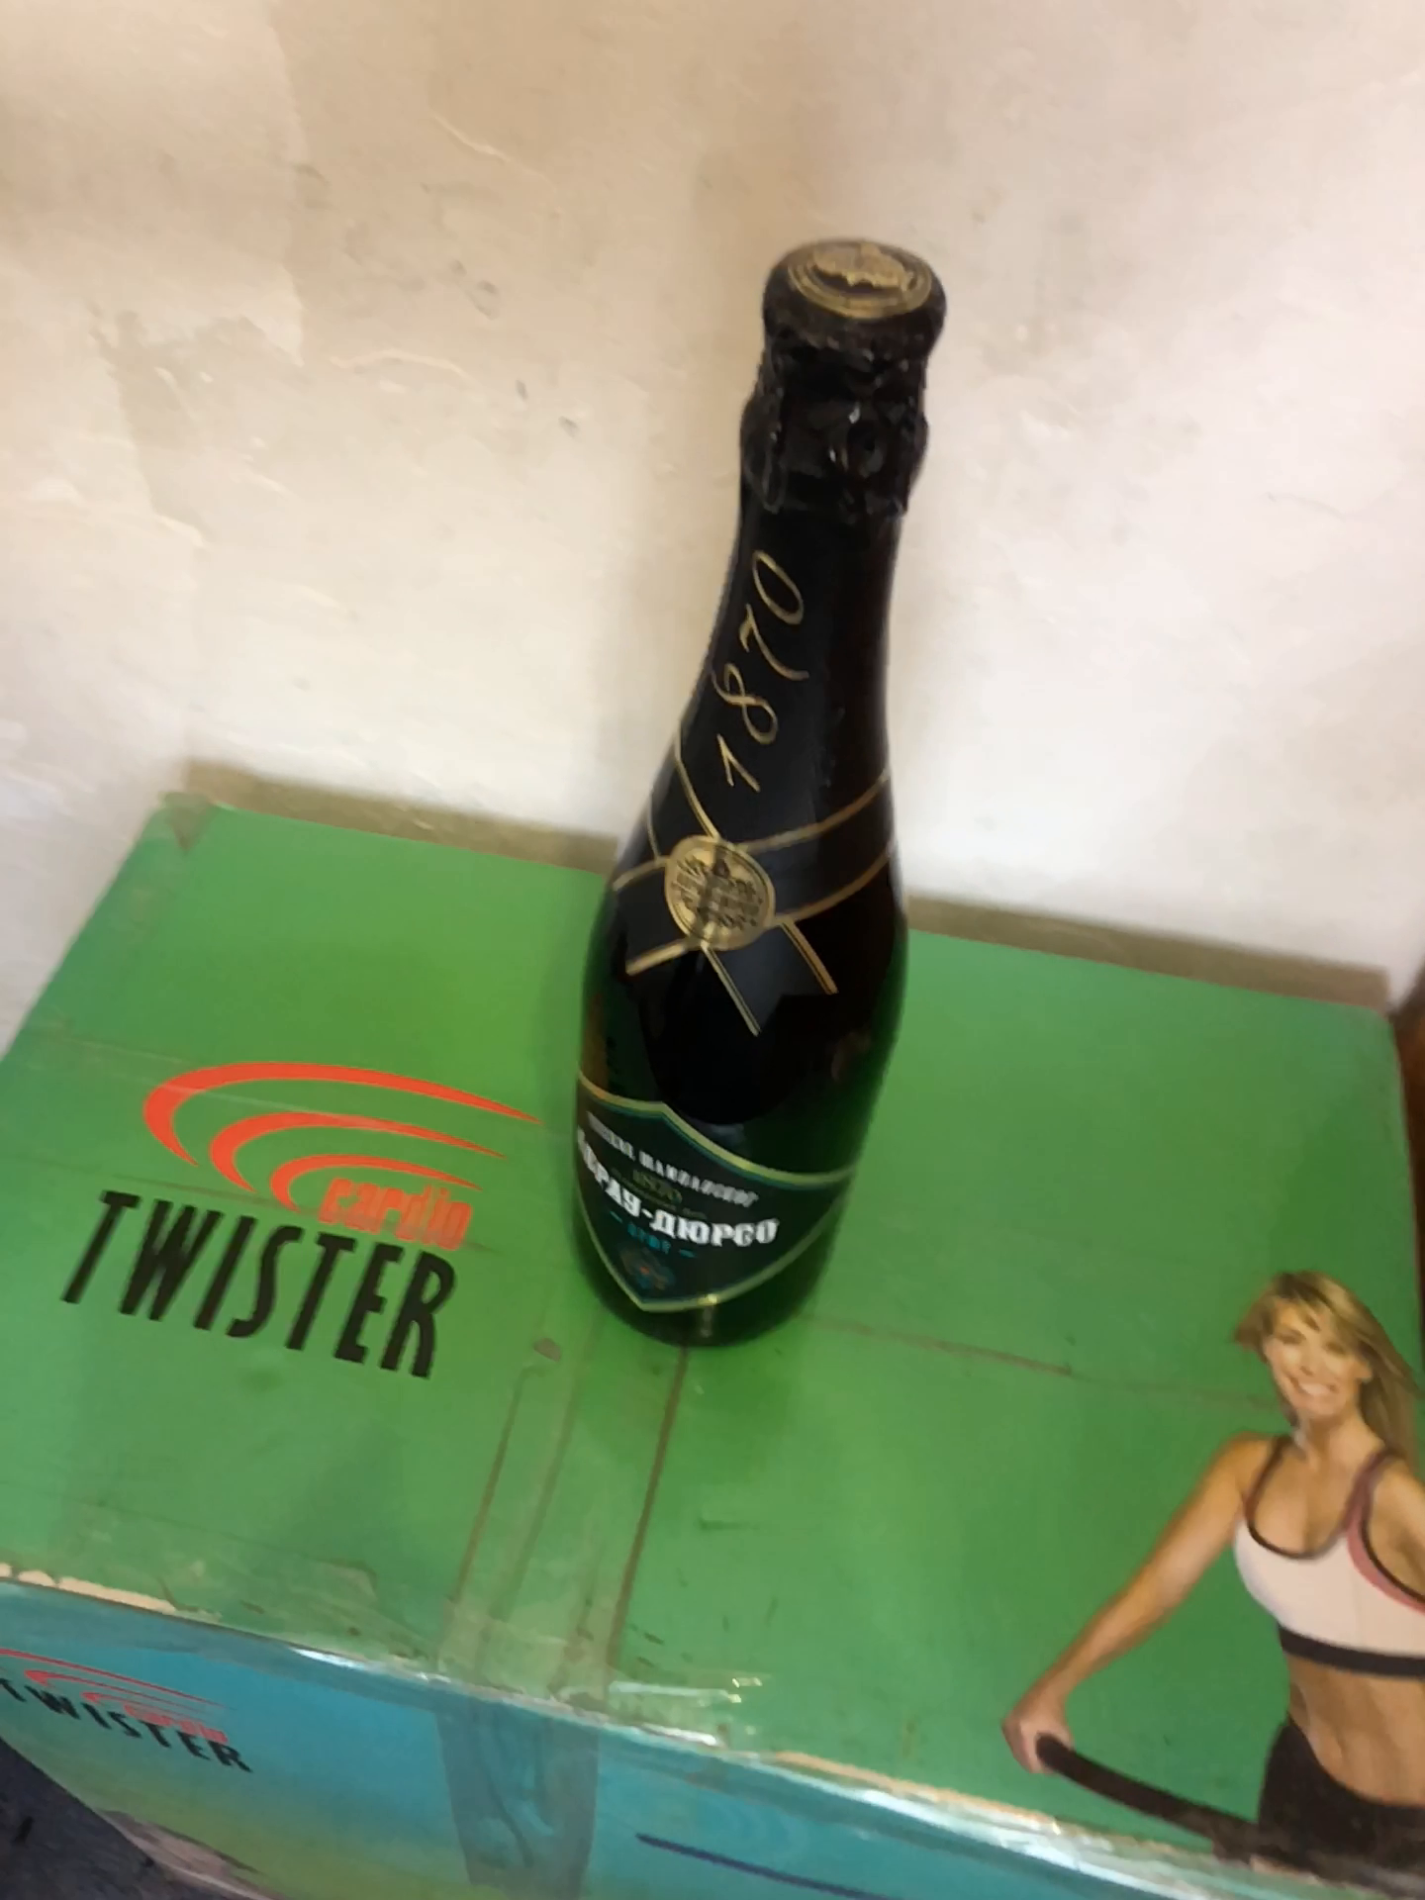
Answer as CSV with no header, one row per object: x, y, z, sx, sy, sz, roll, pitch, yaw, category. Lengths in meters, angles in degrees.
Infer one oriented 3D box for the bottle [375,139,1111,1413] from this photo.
0.002,-0.012,0.377,0.090,0.300,0.090,1,50,-2,bottle
